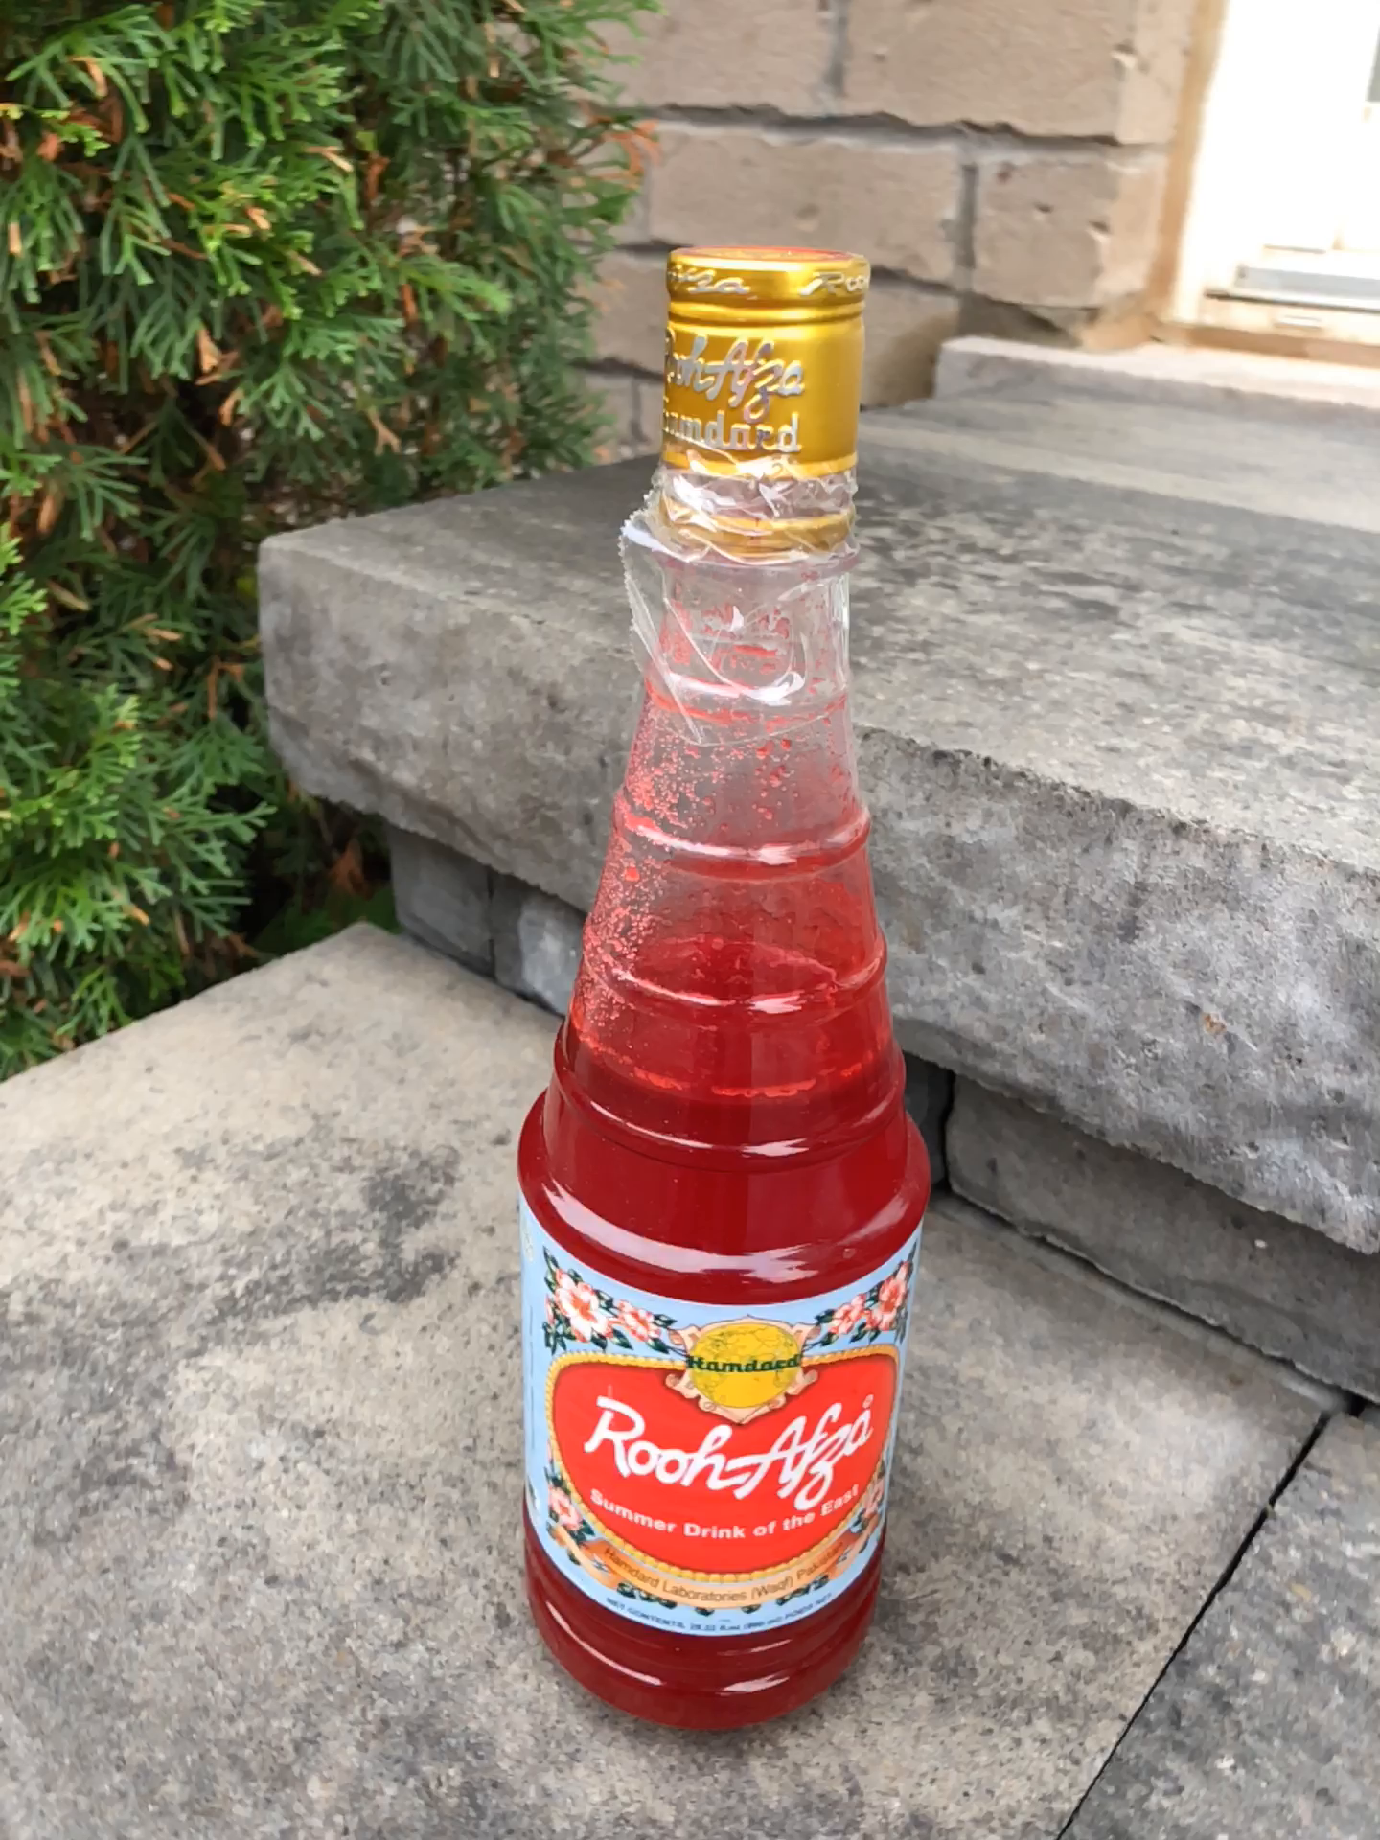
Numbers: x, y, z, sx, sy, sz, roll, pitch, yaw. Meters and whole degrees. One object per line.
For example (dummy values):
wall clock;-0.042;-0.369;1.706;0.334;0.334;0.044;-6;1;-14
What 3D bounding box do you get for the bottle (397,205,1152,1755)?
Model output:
bottle;0.006;0.026;0.283;0.090;0.279;0.080;1;27;-1
